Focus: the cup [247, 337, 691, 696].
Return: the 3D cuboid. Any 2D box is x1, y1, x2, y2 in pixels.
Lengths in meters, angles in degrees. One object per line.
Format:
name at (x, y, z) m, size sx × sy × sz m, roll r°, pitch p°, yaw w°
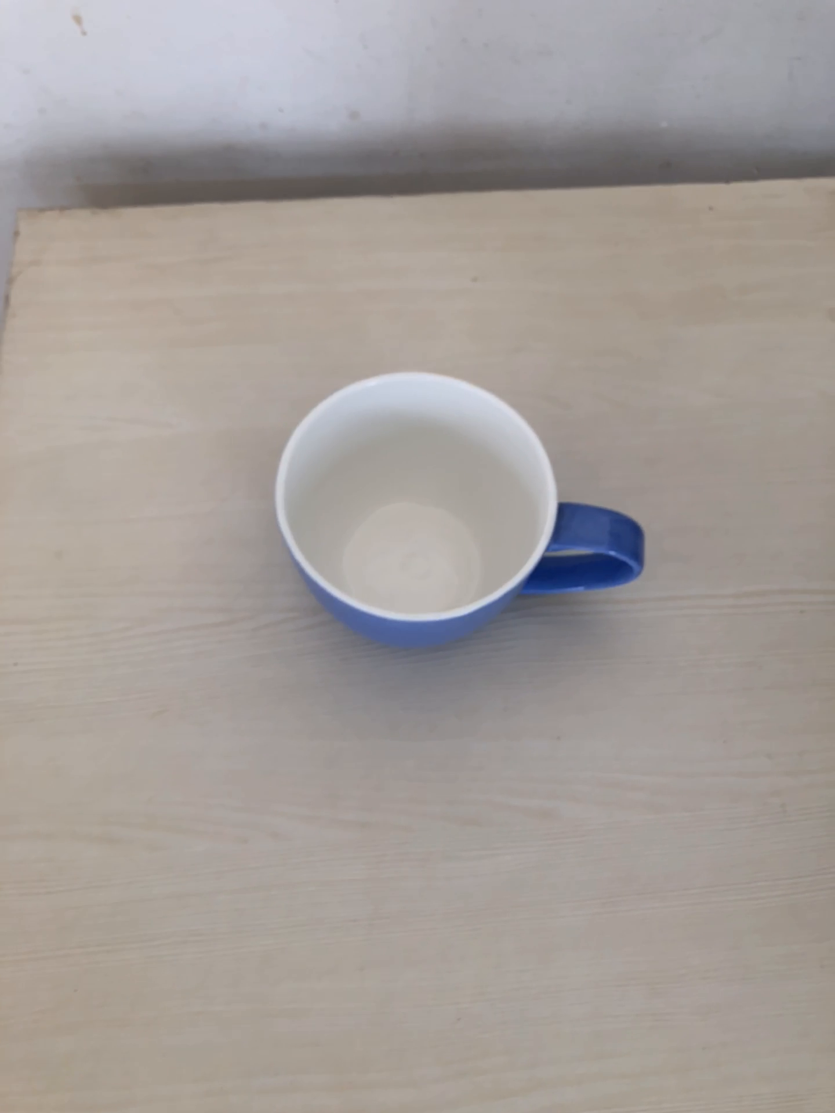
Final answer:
cup at (0.022, -0.015, 0.372) m, size 0.150 × 0.070 × 0.100 m, roll 9°, pitch 64°, yaw 3°
